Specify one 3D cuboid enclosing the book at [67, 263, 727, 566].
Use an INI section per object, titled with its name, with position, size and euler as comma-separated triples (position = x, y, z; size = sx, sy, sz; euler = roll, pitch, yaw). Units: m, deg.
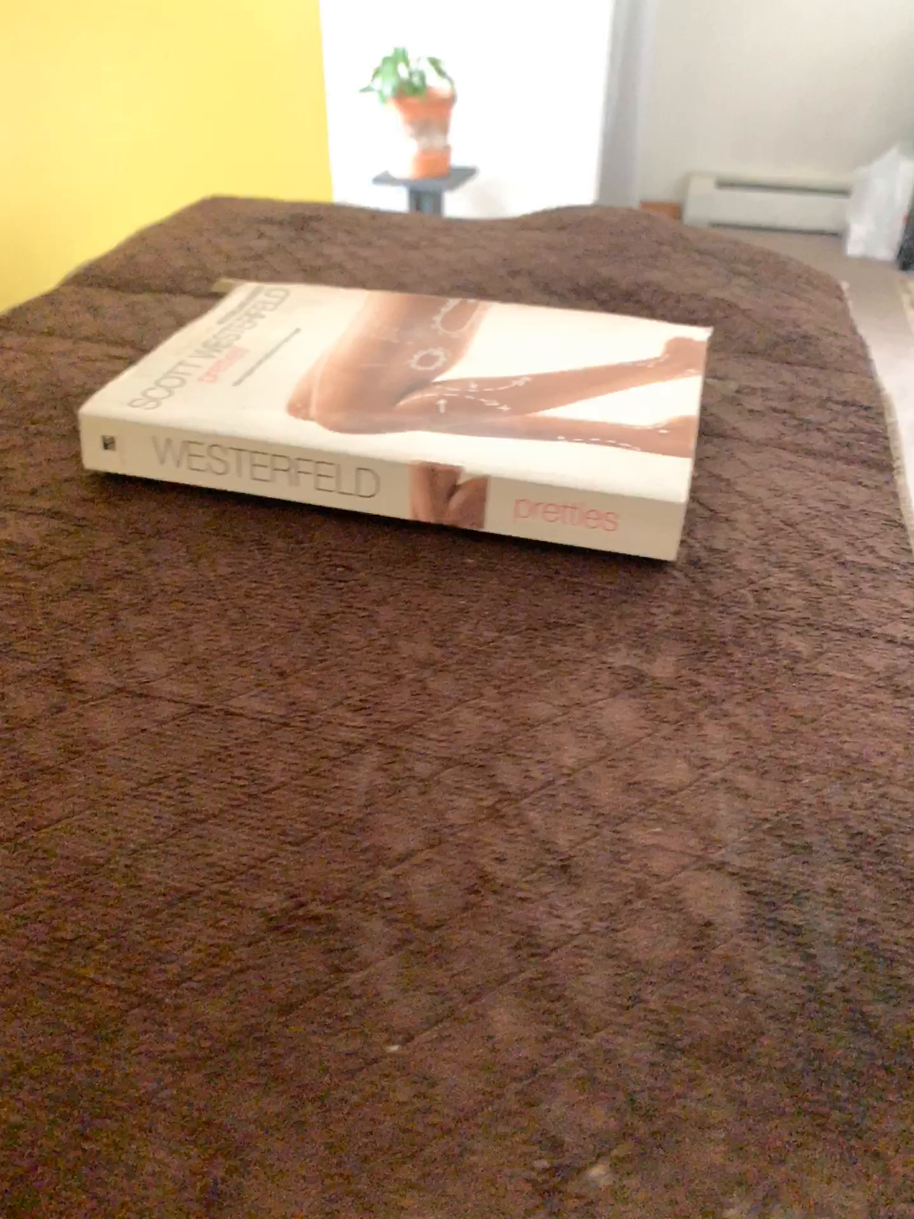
[book]
position = -0.010, -0.088, 0.376
size = 0.220, 0.030, 0.151
euler = 10, 38, 11
